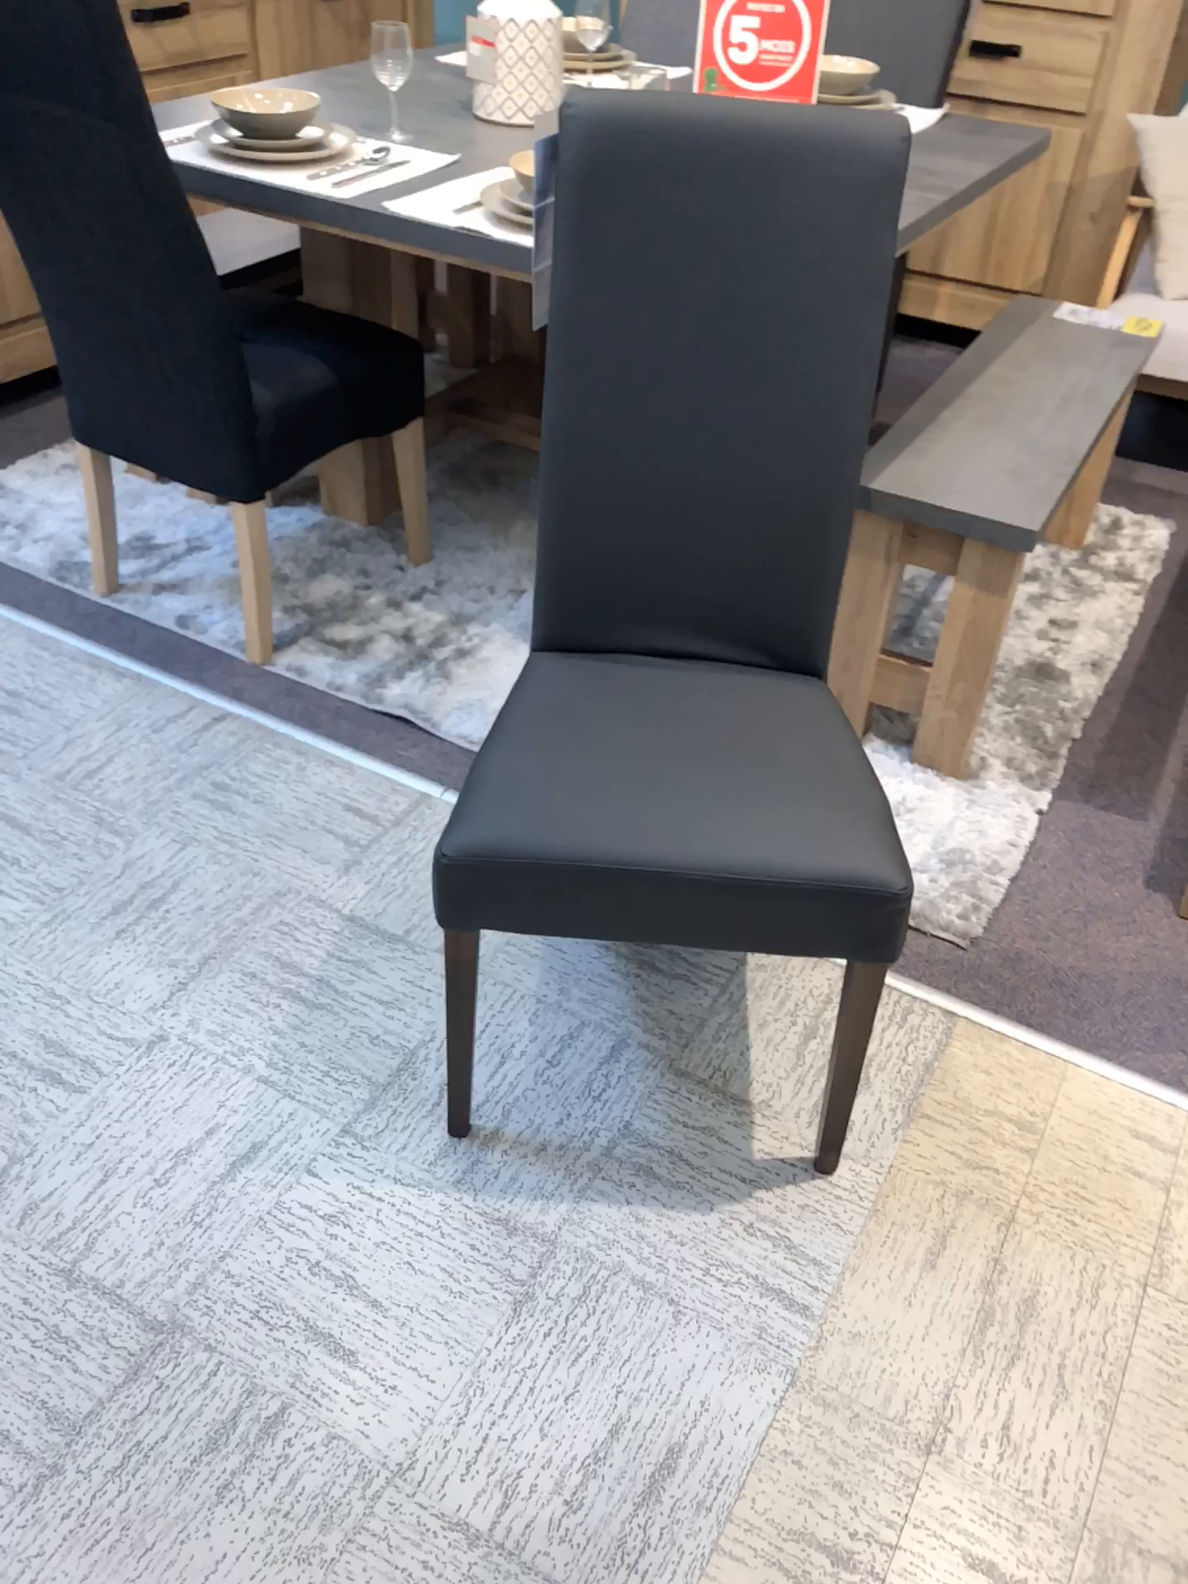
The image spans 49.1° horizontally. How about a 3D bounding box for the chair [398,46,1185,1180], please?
[{"bbox_3d":[0.118,-0.156,1.393,0.520,1.014,0.574,5,38,1],"label":"chair"}]
